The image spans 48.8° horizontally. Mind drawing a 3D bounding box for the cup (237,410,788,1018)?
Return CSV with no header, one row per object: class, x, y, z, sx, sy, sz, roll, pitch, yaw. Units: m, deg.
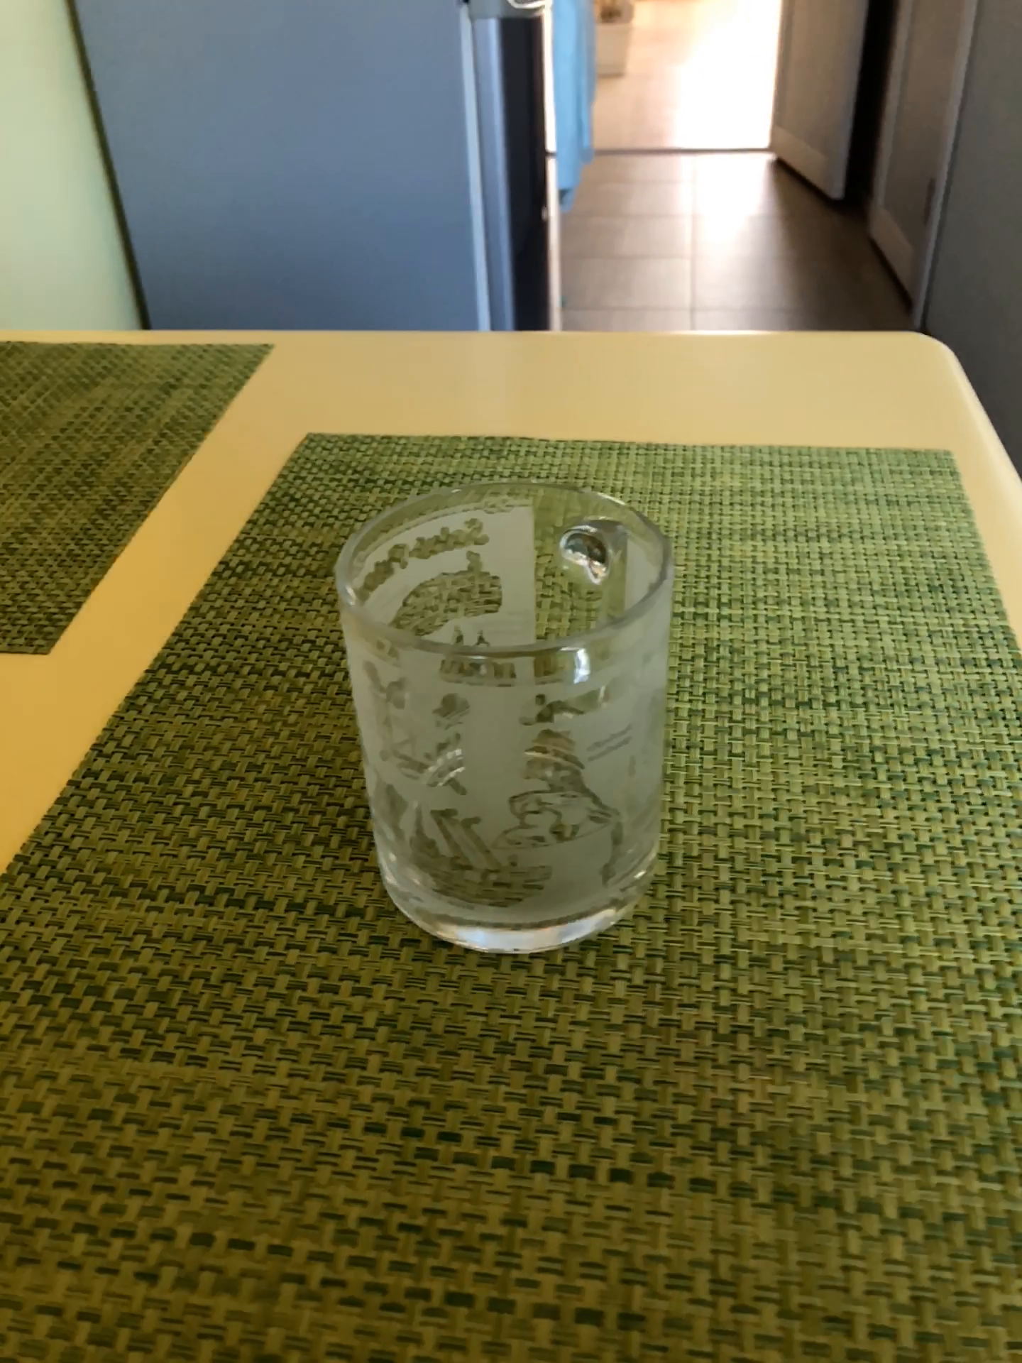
cup,0.006,0.001,0.299,0.087,0.096,0.110,19,41,28
